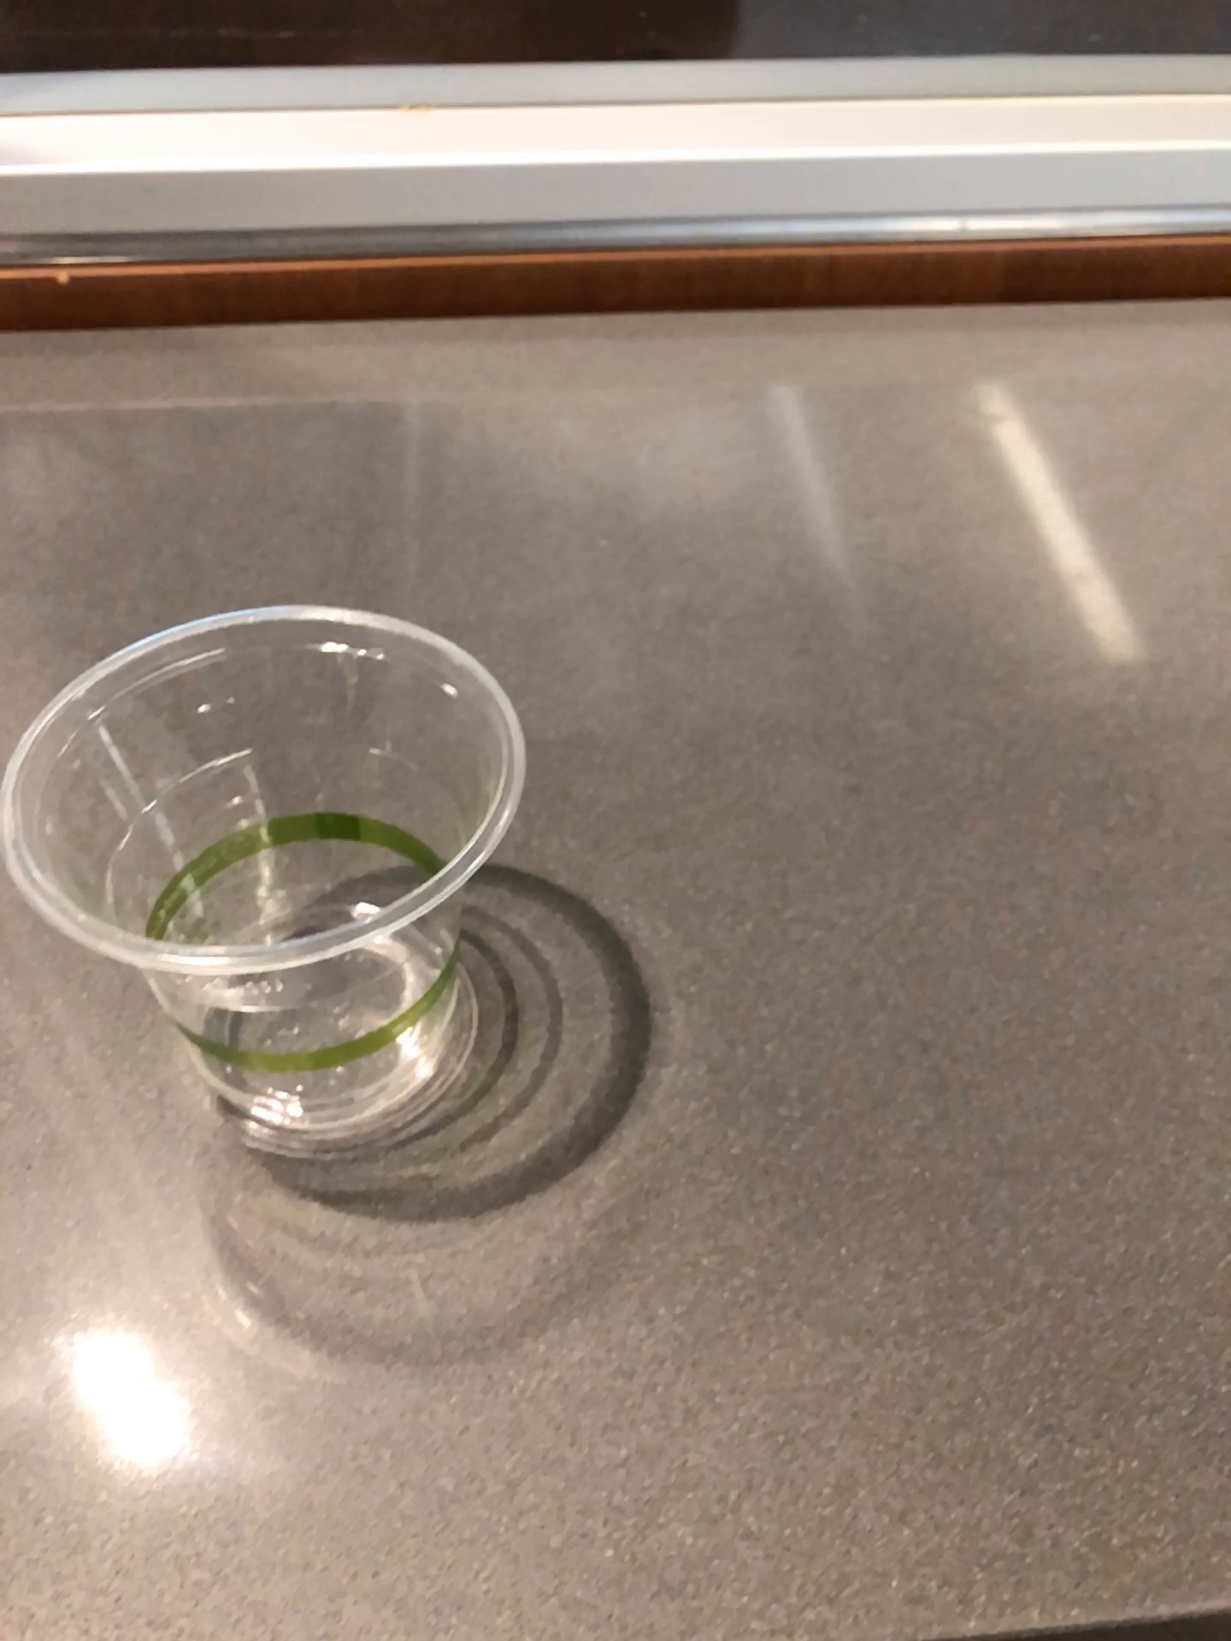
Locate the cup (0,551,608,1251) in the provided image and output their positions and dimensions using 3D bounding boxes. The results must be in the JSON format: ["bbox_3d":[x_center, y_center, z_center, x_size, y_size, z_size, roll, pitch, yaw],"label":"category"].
[{"bbox_3d":[-0.047,0.009,0.214,0.070,0.060,0.070,0,44,0],"label":"cup"}]
